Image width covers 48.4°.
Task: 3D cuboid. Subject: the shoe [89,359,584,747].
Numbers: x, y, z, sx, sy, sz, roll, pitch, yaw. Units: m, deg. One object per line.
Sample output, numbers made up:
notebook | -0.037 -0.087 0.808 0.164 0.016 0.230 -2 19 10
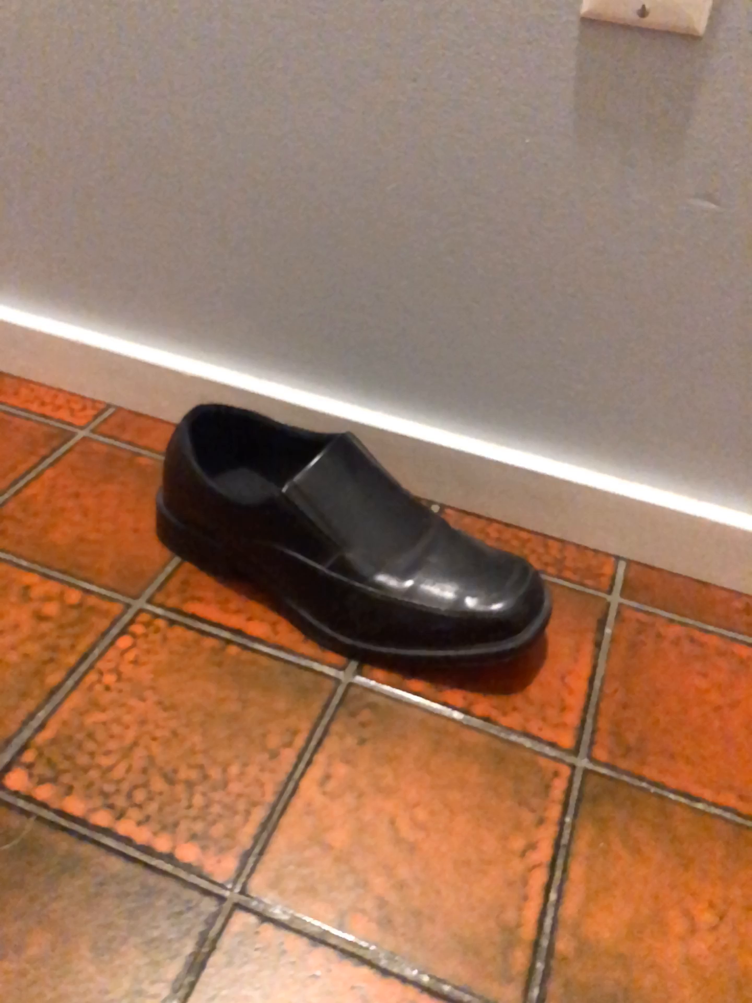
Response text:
shoe | -0.034 0.019 0.565 0.300 0.100 0.120 25 42 21
